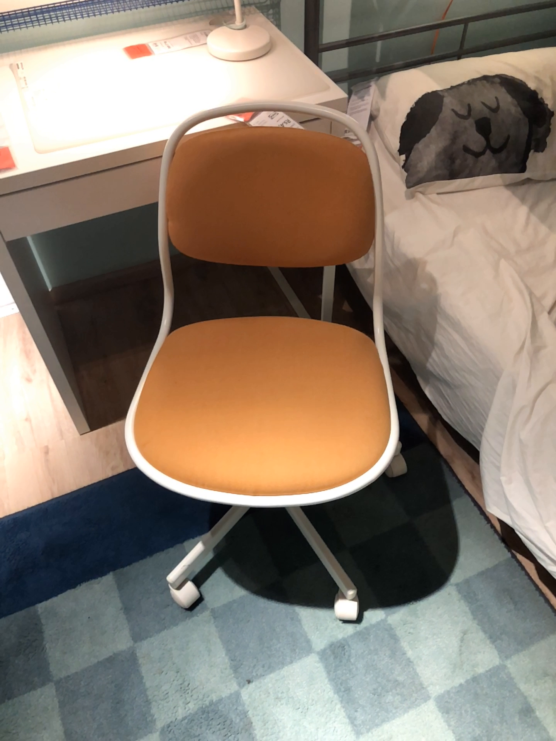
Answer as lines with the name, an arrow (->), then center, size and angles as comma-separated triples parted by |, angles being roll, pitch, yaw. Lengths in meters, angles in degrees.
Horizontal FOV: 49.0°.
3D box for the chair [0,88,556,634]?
chair -> -0.004, 0.032, 1.075 | 0.610, 0.795, 0.563 | 2, 50, 3
